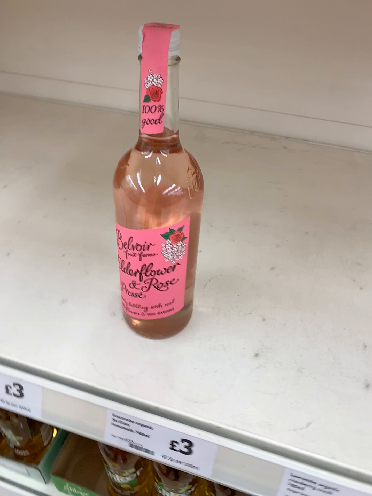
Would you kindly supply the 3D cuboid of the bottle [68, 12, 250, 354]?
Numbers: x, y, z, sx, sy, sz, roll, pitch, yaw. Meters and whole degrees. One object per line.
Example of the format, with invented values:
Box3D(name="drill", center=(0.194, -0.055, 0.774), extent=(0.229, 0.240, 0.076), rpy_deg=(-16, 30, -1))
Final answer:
Box3D(name="bottle", center=(-0.021, -0.039, 0.338), extent=(0.087, 0.274, 0.087), rpy_deg=(2, 39, -2))
